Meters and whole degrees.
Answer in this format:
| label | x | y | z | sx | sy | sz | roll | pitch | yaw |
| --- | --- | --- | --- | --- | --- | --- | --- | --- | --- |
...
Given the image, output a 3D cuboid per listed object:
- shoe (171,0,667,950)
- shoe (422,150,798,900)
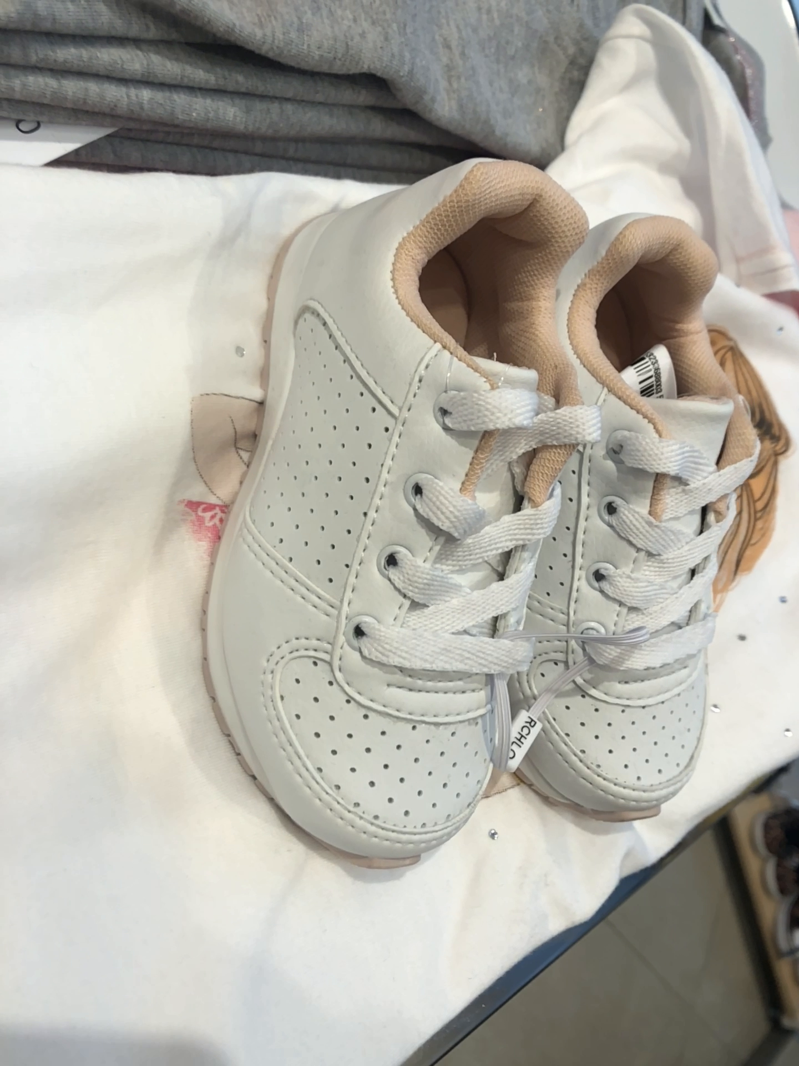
| label | x | y | z | sx | sy | sz | roll | pitch | yaw |
| --- | --- | --- | --- | --- | --- | --- | --- | --- | --- |
| shoe | 0.008 | -0.011 | 0.192 | 0.080 | 0.060 | 0.160 | 9 | 81 | -40 |
| shoe | 0.061 | -0.002 | 0.240 | 0.081 | 0.060 | 0.160 | -3 | 89 | -42 |
